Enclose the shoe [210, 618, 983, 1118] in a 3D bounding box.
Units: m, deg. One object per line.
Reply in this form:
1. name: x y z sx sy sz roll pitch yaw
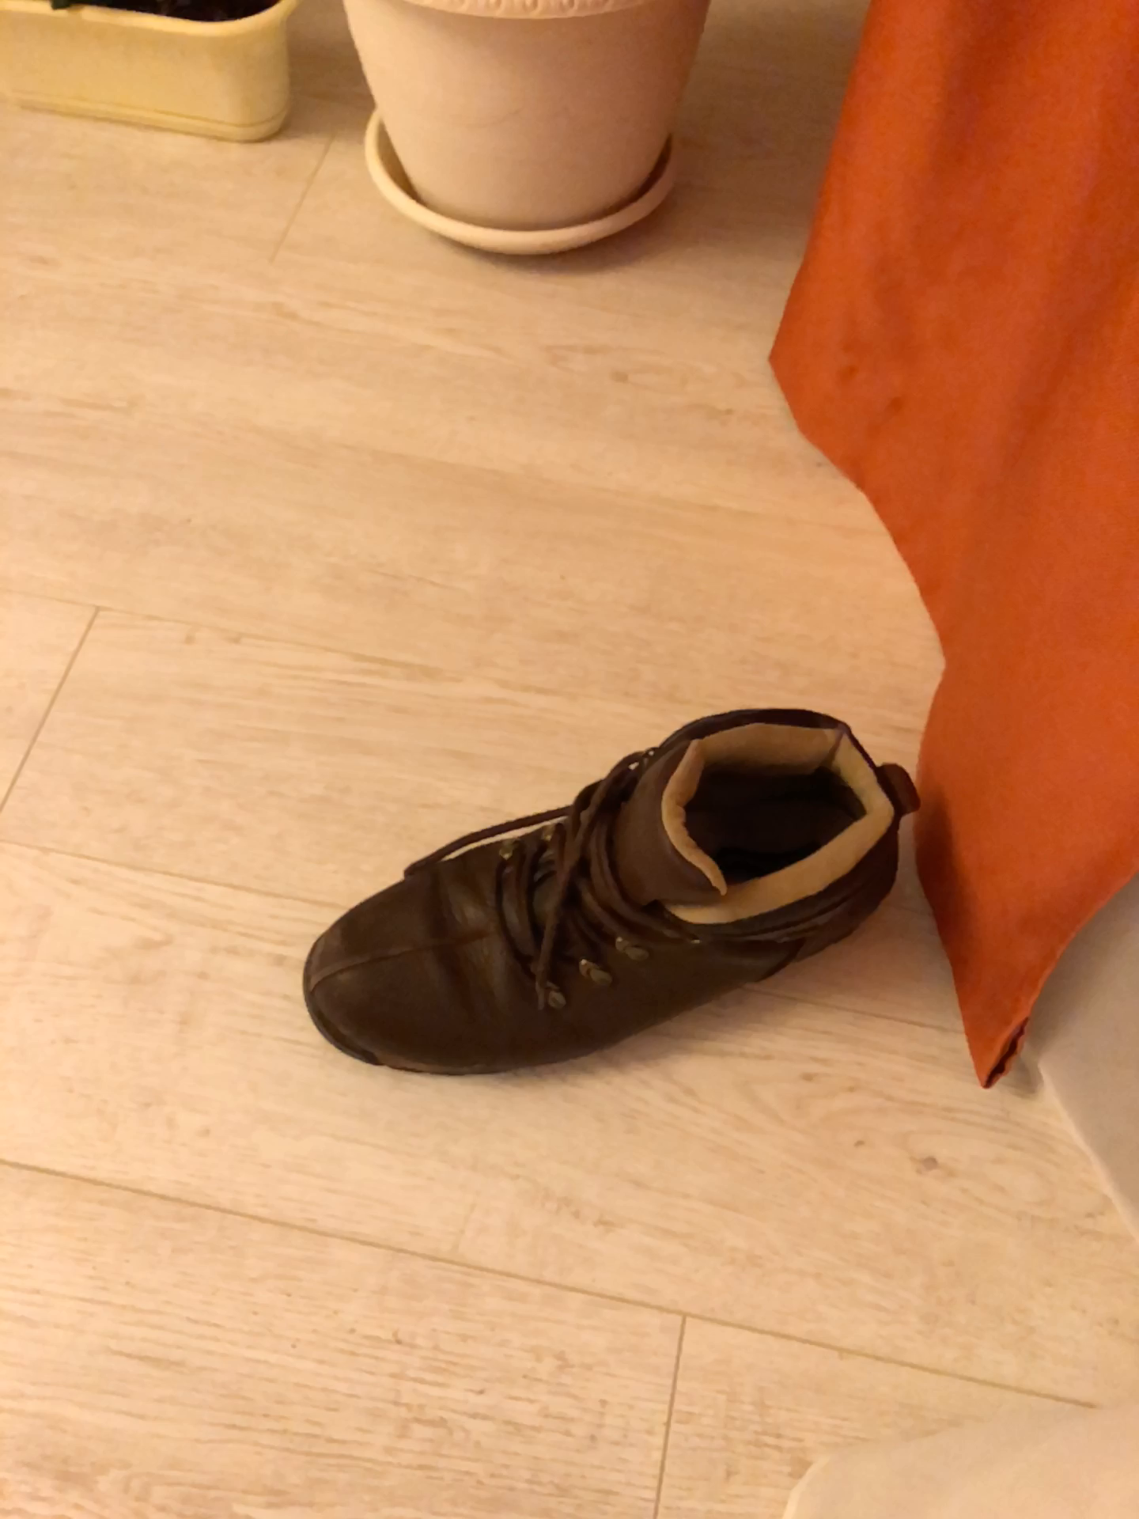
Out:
1. shoe: 0.008 0.055 0.586 0.300 0.159 0.110 -13 61 -9
